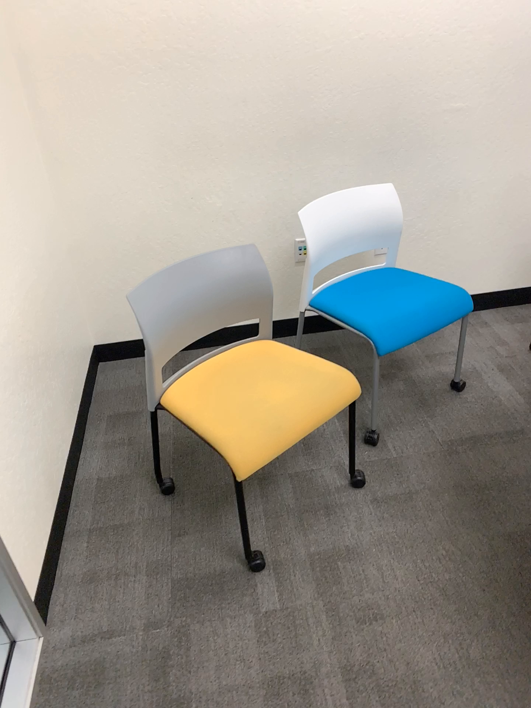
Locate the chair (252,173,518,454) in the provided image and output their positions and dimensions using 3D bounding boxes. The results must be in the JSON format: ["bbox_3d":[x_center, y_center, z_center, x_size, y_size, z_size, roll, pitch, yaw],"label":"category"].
[{"bbox_3d":[0.434,-0.210,2.166,0.641,0.755,0.694,-23,37,-25],"label":"chair"}]

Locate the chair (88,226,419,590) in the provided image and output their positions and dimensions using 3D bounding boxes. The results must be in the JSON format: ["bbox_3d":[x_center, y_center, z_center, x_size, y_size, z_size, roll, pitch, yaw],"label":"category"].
[{"bbox_3d":[-0.026,0.103,1.721,0.641,0.716,0.693,-29,40,-32],"label":"chair"}]

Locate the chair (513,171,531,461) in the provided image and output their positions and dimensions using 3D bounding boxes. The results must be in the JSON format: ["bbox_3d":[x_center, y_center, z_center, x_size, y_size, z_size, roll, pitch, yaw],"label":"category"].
[{"bbox_3d":[1.441,-0.197,2.068,0.751,0.765,0.693,11,36,23],"label":"chair"}]
